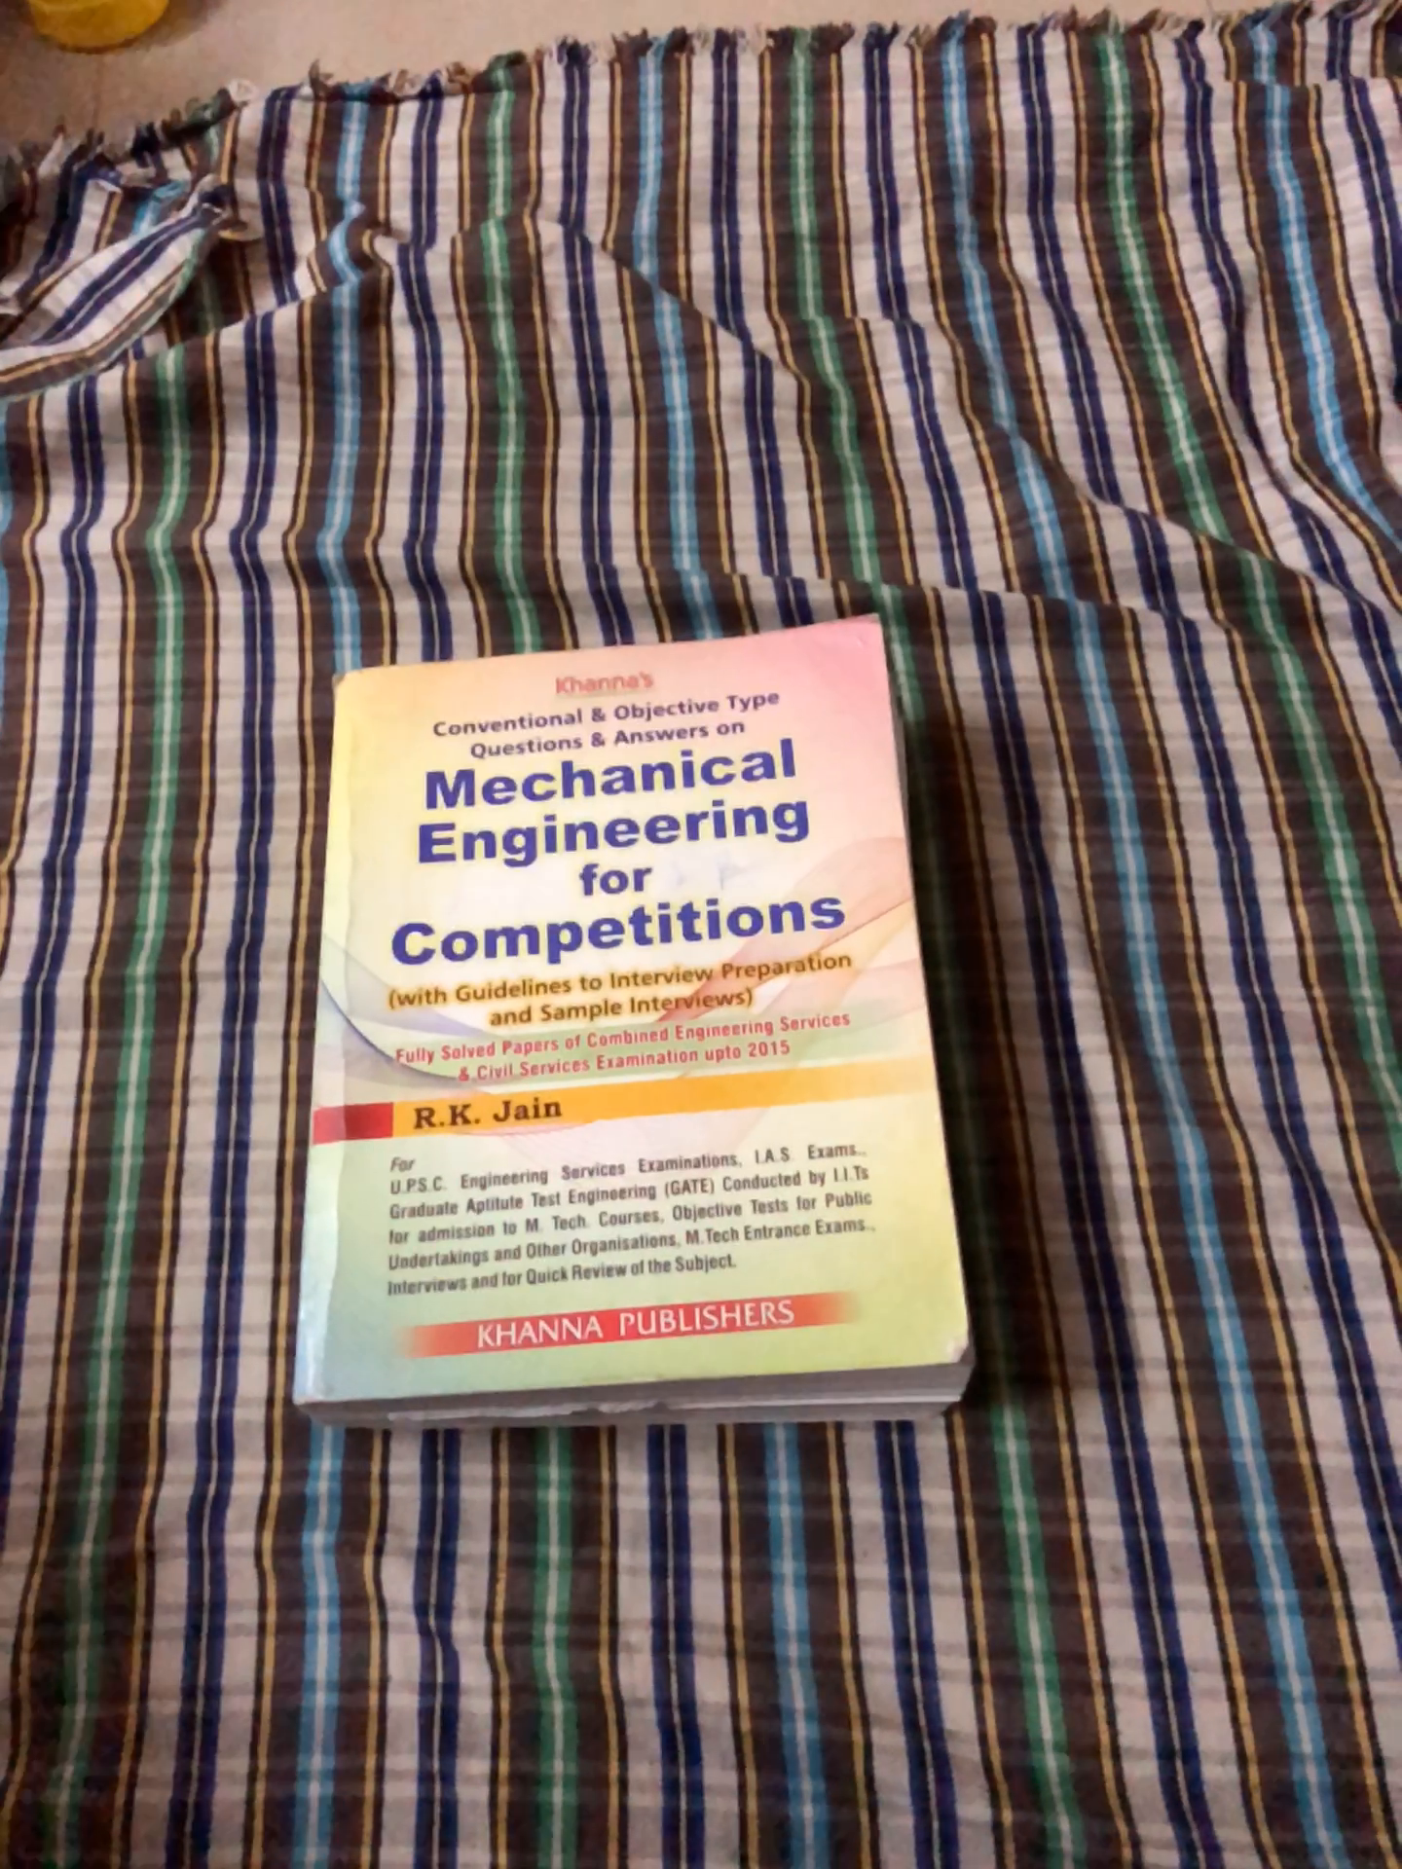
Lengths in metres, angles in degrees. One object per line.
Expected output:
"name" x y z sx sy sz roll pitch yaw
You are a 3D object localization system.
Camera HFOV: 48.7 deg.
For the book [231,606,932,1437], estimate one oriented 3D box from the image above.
"book" -0.038 0.026 0.556 0.210 0.078 0.280 -3 65 2
